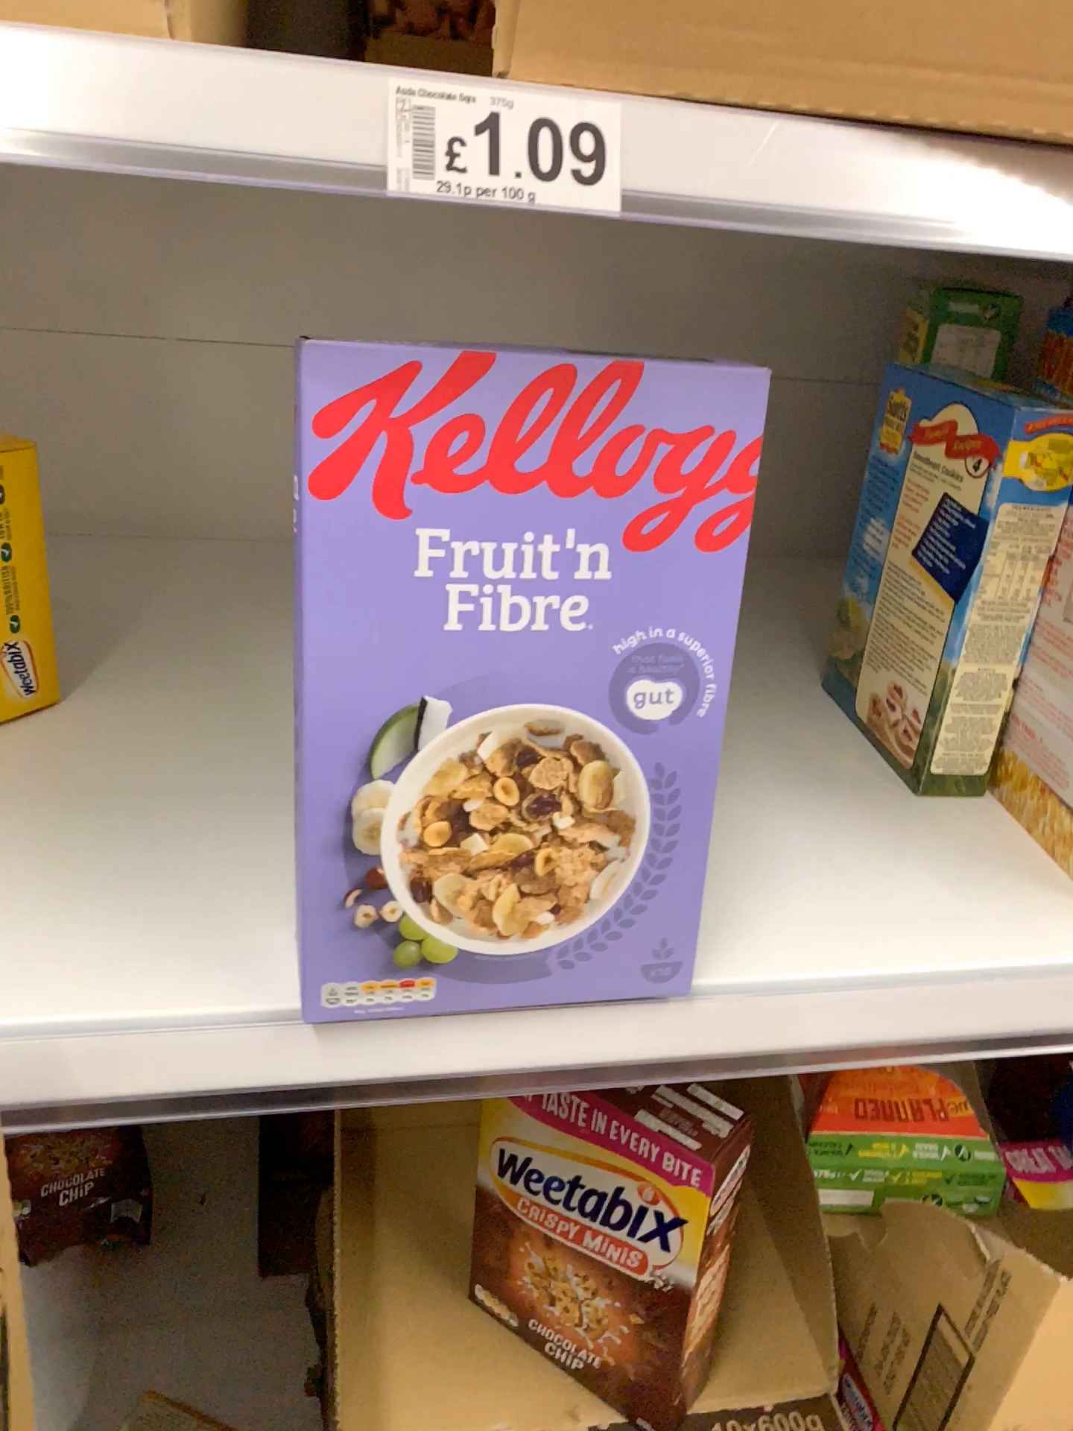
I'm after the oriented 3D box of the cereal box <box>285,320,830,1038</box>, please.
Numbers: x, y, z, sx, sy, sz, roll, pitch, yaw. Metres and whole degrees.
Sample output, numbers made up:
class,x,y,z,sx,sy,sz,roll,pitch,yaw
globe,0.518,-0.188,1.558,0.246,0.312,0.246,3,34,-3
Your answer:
class,x,y,z,sx,sy,sz,roll,pitch,yaw
cereal box,-0.005,-0.012,0.498,0.210,0.298,0.080,0,20,-13
